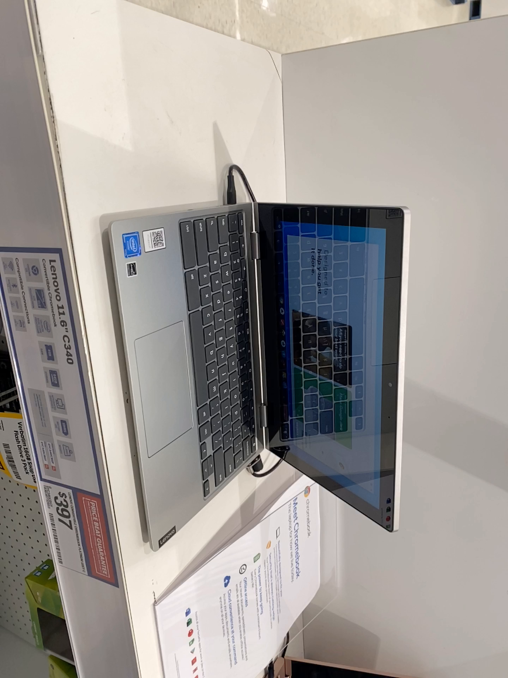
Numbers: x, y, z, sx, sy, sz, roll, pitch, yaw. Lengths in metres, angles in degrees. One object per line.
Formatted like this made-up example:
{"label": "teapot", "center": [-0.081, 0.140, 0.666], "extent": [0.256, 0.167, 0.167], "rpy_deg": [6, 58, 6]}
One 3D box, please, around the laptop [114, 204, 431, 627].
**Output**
{"label": "laptop", "center": [0.033, 0.036, 0.462], "extent": [0.201, 0.180, 0.284], "rpy_deg": [-29, 120, -54]}
